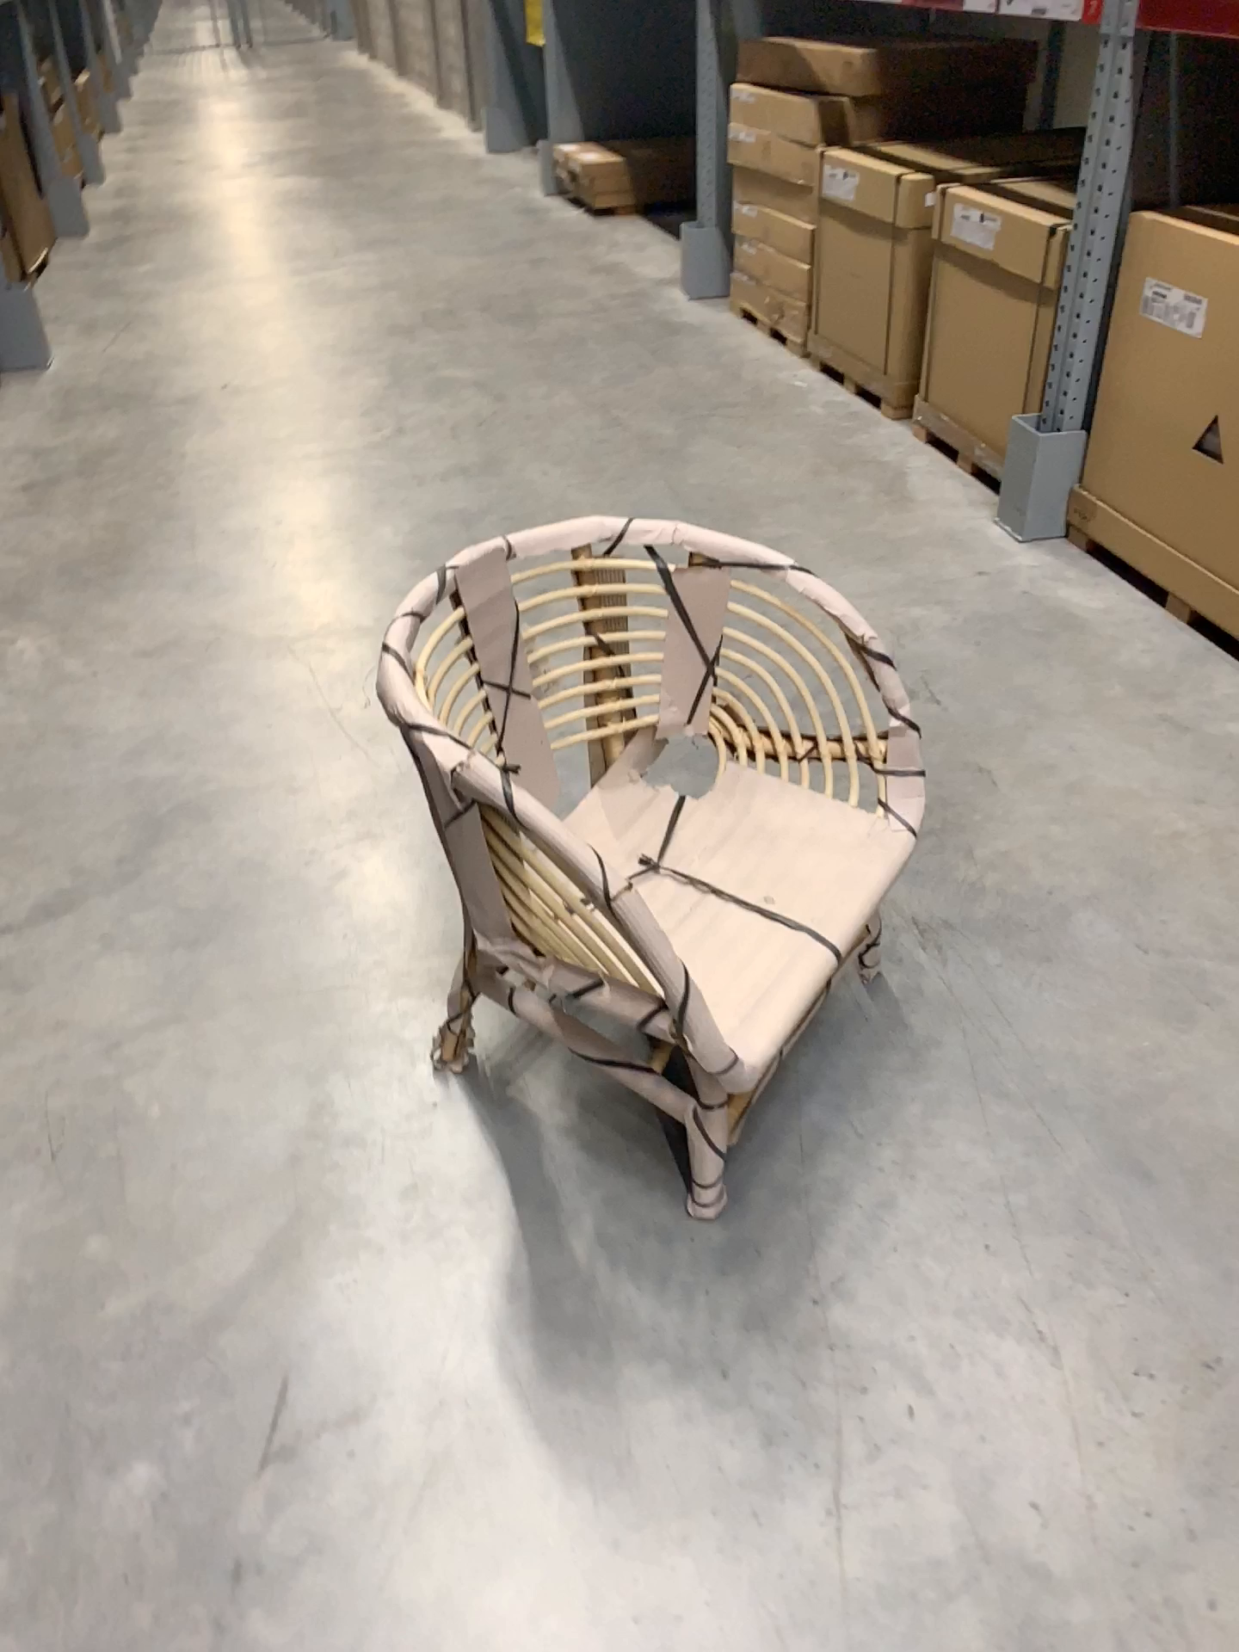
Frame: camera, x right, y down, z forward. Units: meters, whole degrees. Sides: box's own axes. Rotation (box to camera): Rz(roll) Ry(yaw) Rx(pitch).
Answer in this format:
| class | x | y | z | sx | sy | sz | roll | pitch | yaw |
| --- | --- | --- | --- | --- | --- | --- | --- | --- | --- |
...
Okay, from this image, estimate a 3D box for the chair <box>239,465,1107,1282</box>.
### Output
| class | x | y | z | sx | sy | sz | roll | pitch | yaw |
| --- | --- | --- | --- | --- | --- | --- | --- | --- | --- |
| chair | 0.099 | -0.024 | 1.668 | 0.761 | 0.567 | 0.752 | 19 | 41 | 28 |
